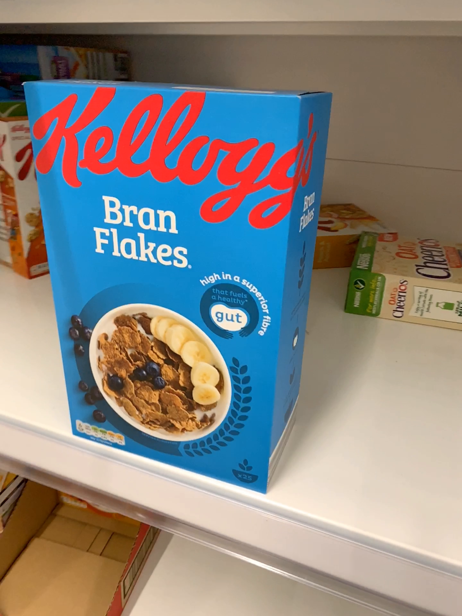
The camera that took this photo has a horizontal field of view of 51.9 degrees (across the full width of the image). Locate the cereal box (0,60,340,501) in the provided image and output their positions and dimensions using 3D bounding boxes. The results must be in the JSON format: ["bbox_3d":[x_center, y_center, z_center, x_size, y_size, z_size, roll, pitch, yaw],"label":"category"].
[{"bbox_3d":[-0.046,-0.023,0.370,0.210,0.297,0.091,11,28,18],"label":"cereal box"}]
